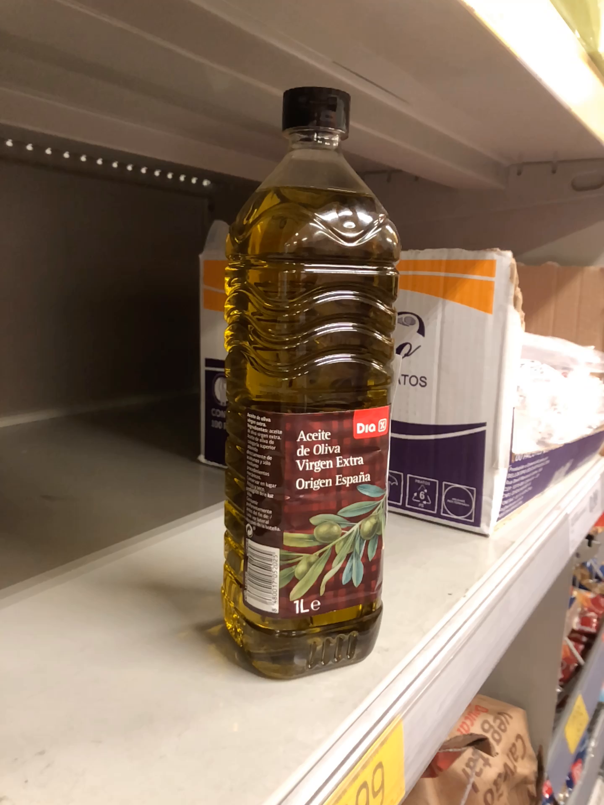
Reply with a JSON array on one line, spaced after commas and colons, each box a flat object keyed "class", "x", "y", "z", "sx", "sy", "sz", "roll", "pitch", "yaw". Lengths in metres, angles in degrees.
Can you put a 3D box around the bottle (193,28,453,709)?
[{"class": "bottle", "x": 0.004, "y": -0.010, "z": 0.322, "sx": 0.080, "sy": 0.279, "sz": 0.070, "roll": -1, "pitch": 11, "yaw": -30}]
